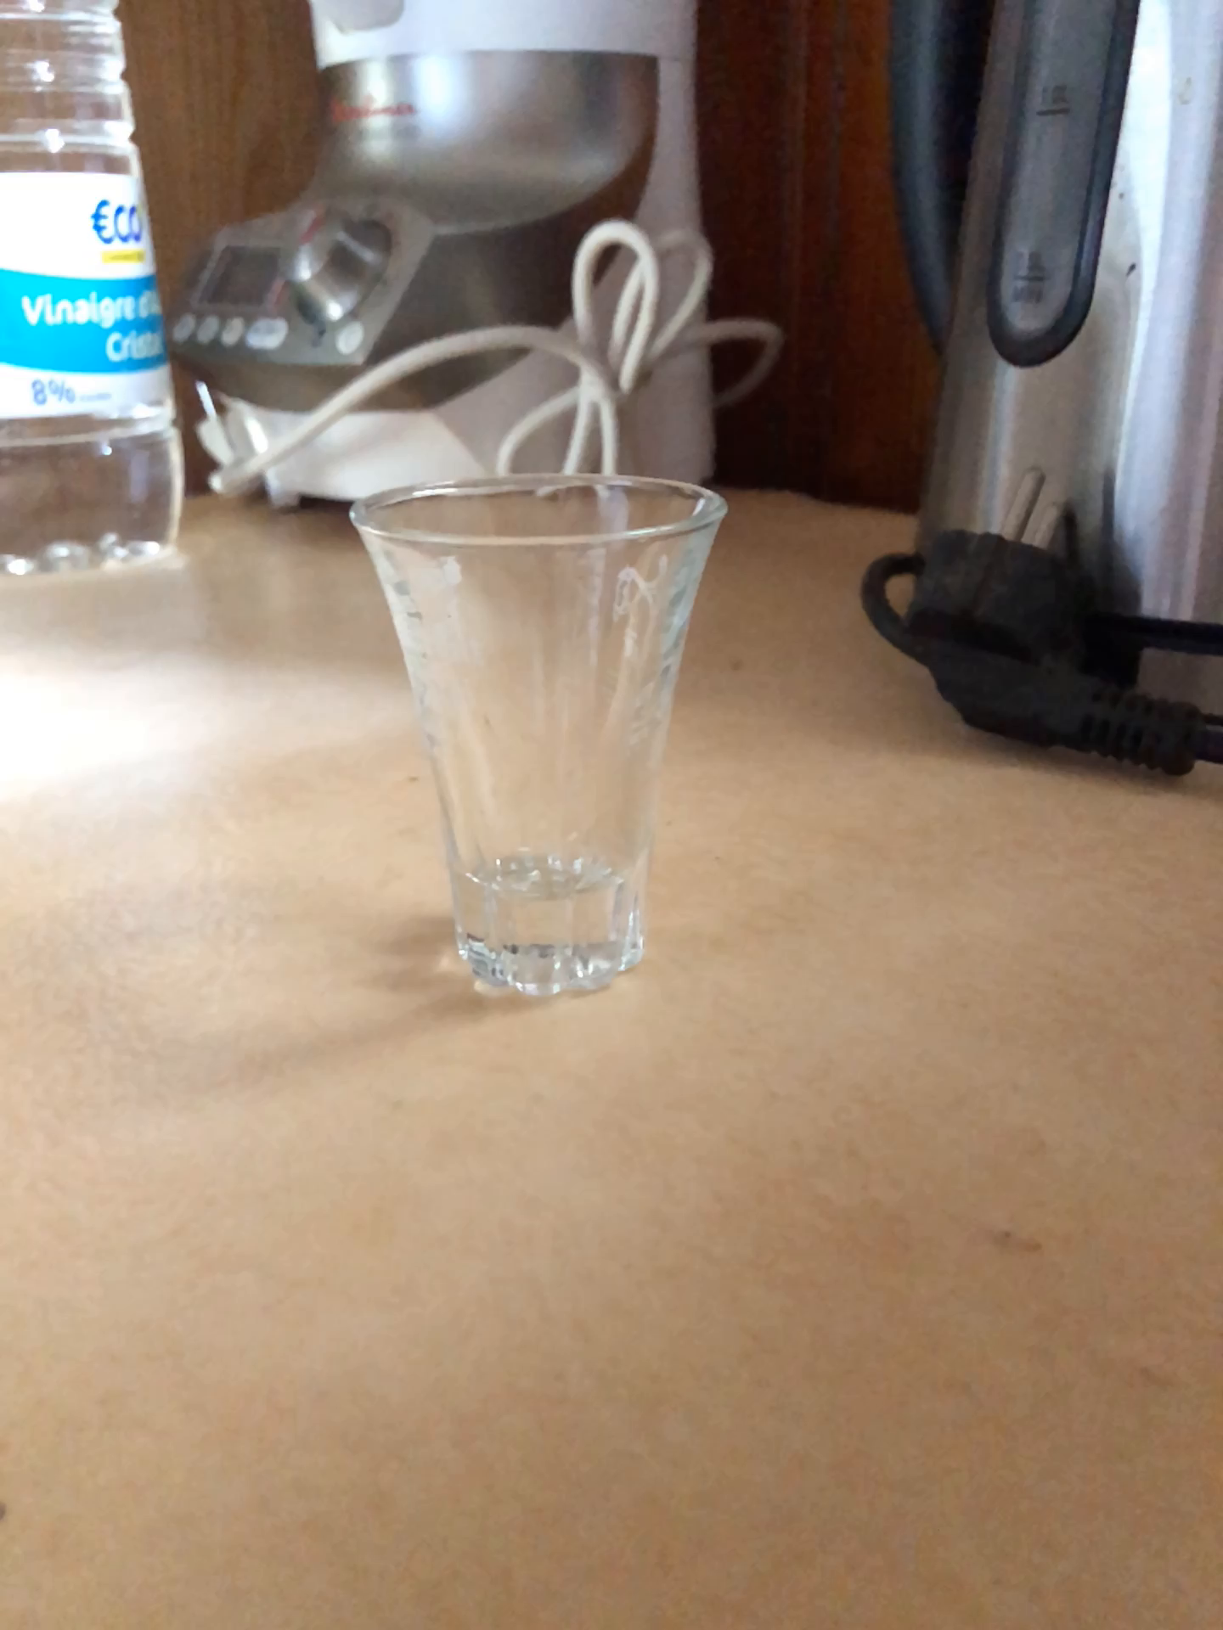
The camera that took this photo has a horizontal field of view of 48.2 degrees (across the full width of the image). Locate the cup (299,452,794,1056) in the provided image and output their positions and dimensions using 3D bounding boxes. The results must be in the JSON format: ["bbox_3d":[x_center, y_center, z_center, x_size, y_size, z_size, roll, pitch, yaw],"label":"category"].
[{"bbox_3d":[-0.009,-0.013,0.204,0.050,0.070,0.050,-1,23,0],"label":"cup"}]
